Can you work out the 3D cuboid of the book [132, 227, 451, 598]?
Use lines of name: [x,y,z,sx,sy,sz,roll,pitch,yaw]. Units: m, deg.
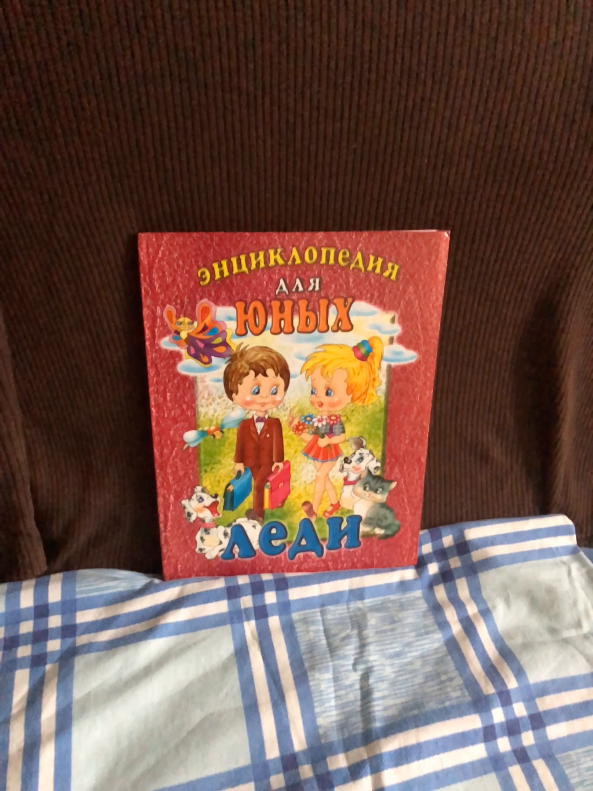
book: [-0.004,0.021,0.527,0.230,0.303,0.020,-3,21,-10]
